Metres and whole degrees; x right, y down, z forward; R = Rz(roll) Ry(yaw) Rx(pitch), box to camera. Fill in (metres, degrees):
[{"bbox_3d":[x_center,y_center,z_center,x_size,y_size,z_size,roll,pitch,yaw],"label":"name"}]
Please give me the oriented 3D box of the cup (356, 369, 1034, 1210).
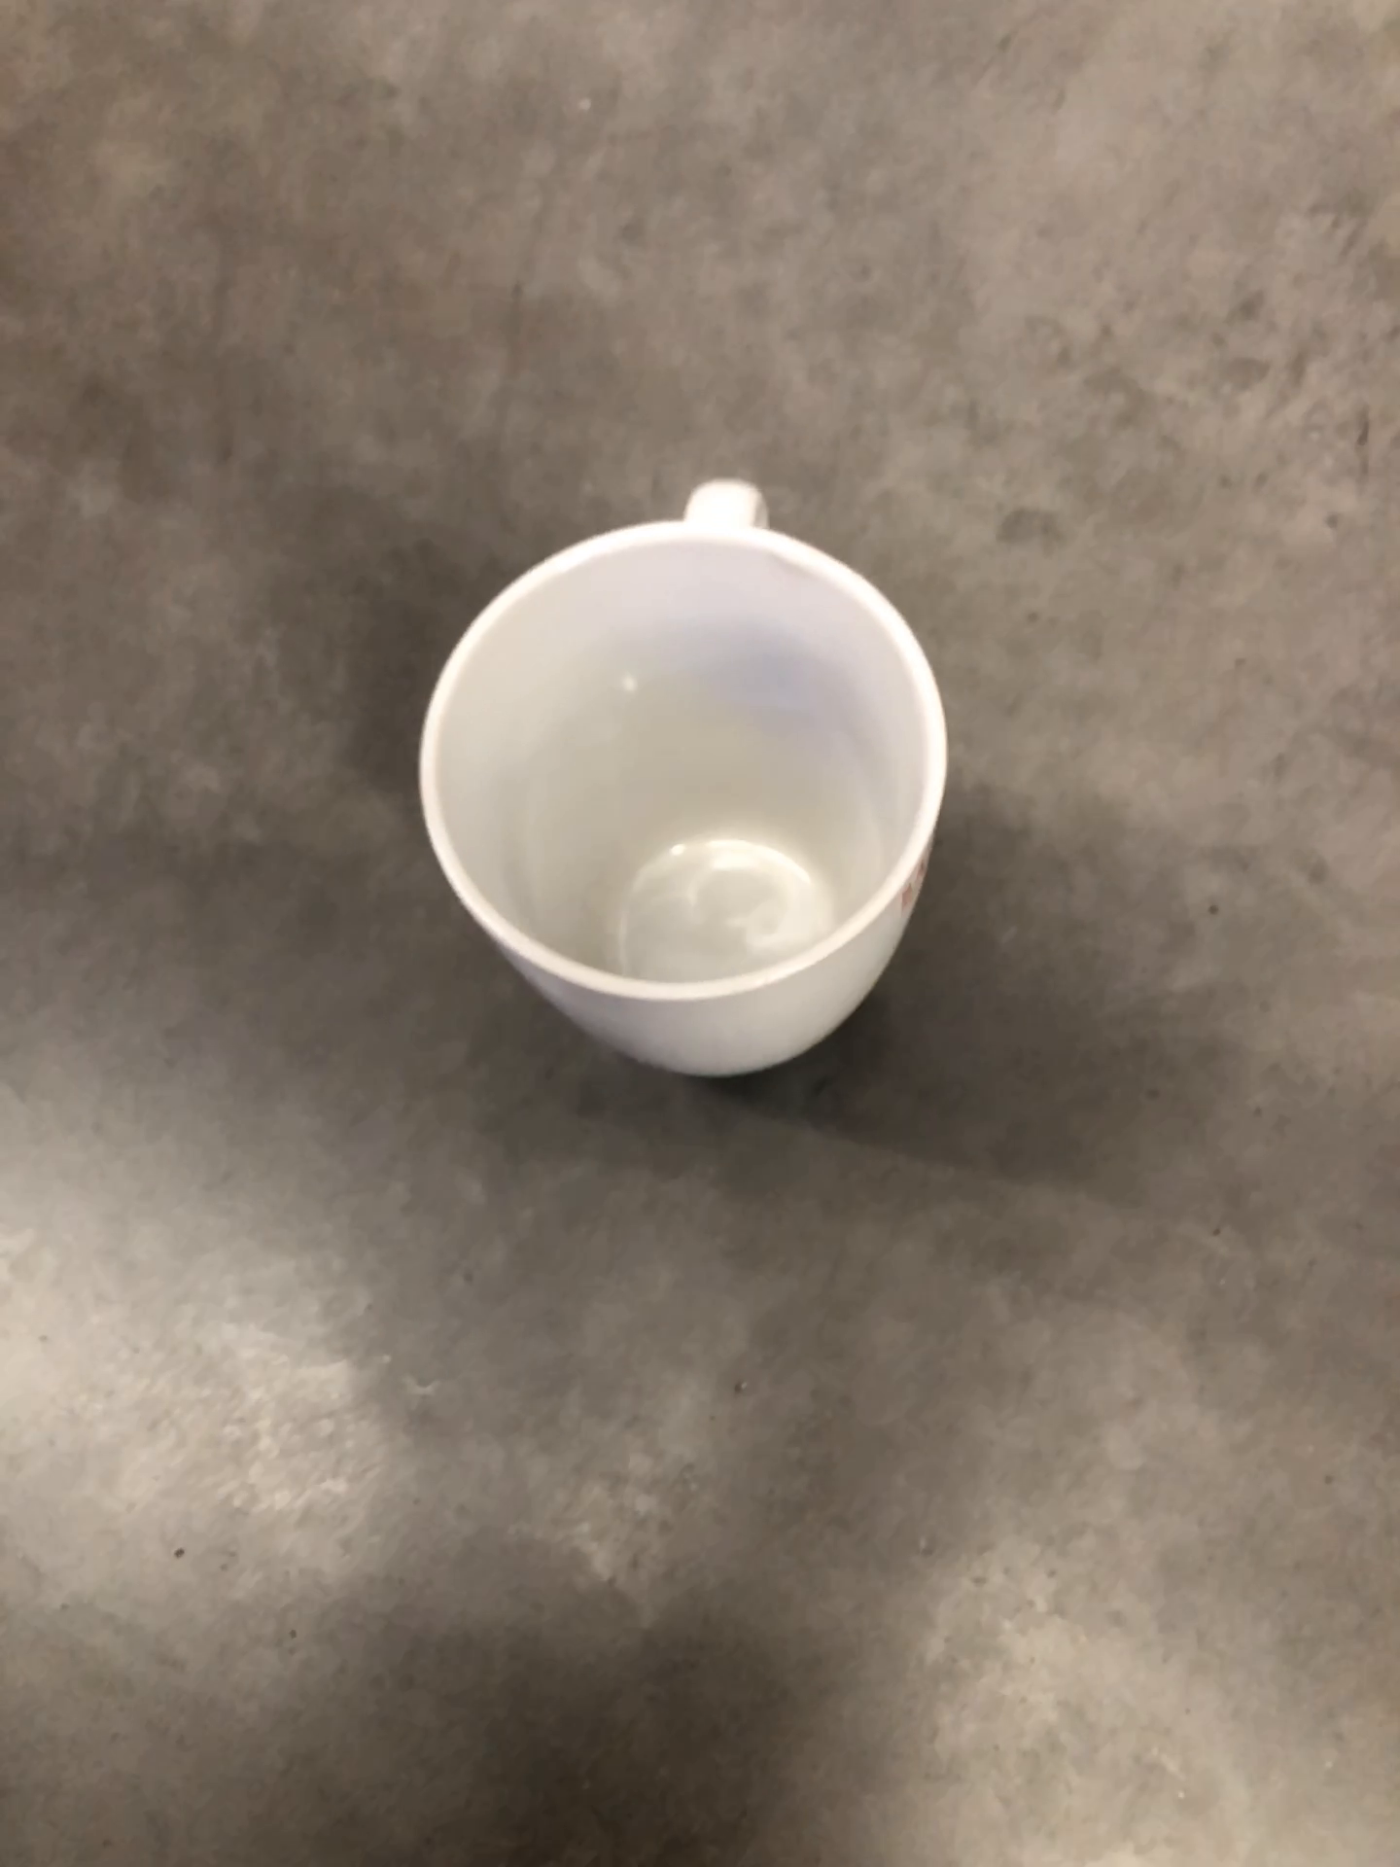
[{"bbox_3d":[0.007,-0.024,0.324,0.097,0.107,0.130,8,71,8],"label":"cup"}]
